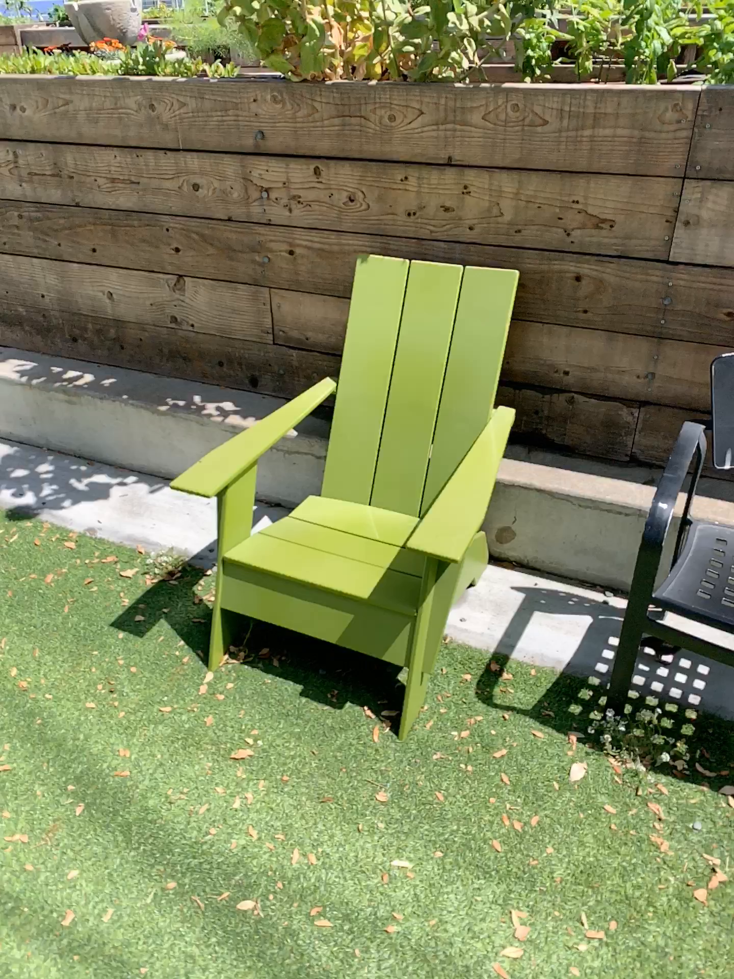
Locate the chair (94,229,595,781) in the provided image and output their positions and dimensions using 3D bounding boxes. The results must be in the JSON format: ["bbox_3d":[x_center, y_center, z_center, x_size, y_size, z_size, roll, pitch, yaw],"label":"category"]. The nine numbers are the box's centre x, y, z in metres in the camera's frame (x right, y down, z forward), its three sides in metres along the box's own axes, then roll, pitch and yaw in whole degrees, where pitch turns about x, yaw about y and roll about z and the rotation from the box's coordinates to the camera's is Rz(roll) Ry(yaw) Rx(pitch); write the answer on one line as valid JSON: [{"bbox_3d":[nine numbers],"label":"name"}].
[{"bbox_3d":[0.029,-0.053,1.810,0.722,0.845,0.903,14,37,23],"label":"chair"}]
